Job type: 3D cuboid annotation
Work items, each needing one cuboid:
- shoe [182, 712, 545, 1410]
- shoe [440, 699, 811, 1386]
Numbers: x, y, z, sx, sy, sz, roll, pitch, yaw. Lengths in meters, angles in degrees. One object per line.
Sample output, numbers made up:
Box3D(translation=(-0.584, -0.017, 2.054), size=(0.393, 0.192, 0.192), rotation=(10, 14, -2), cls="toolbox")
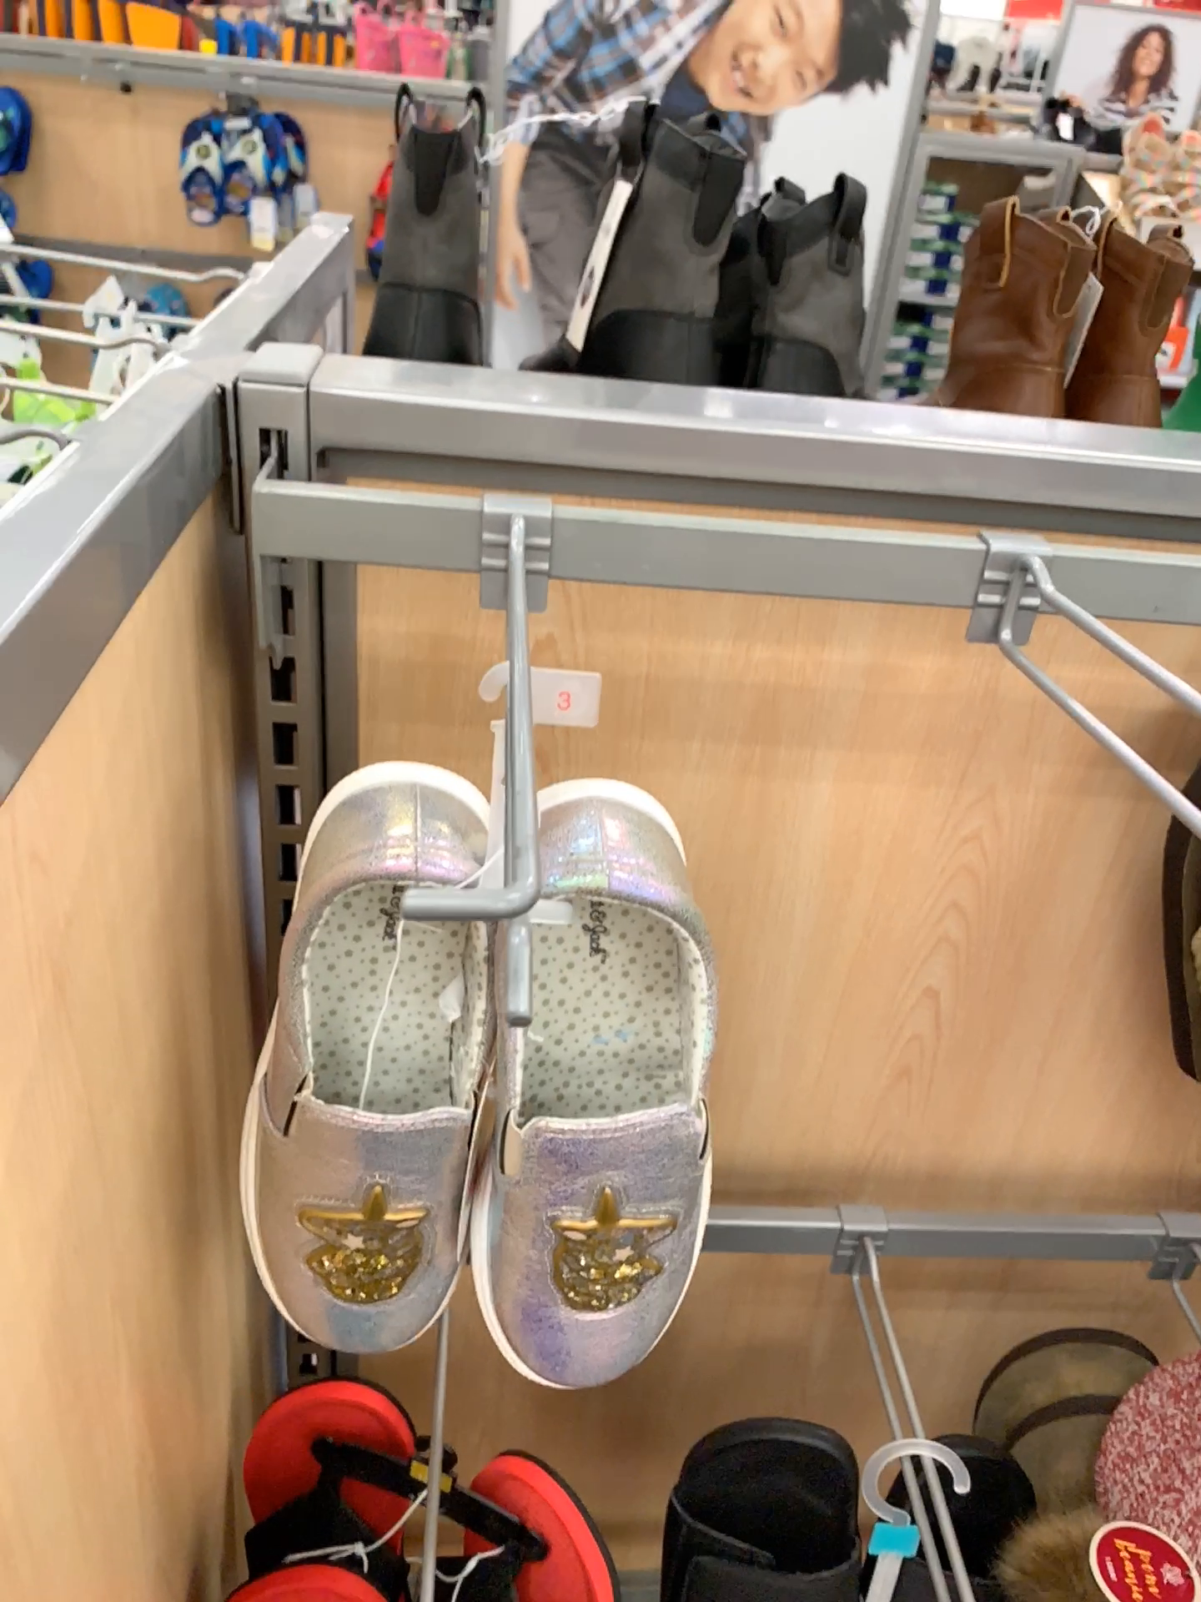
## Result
Box3D(translation=(-0.082, 0.094, 0.450), size=(0.100, 0.220, 0.114), rotation=(1, 28, -9), cls="shoe")
Box3D(translation=(-0.005, 0.089, 0.458), size=(0.100, 0.220, 0.114), rotation=(1, 28, -9), cls="shoe")
